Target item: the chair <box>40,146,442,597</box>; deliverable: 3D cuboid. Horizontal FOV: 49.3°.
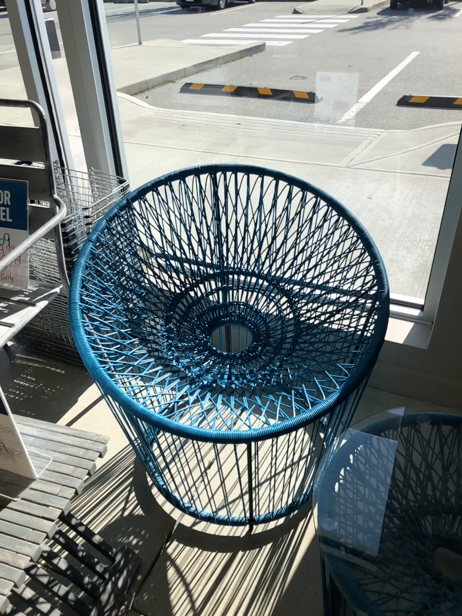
[{"bbox_3d":[-0.002,0.161,1.435,0.720,0.993,0.665,-7,34,-7],"label":"chair"}]
